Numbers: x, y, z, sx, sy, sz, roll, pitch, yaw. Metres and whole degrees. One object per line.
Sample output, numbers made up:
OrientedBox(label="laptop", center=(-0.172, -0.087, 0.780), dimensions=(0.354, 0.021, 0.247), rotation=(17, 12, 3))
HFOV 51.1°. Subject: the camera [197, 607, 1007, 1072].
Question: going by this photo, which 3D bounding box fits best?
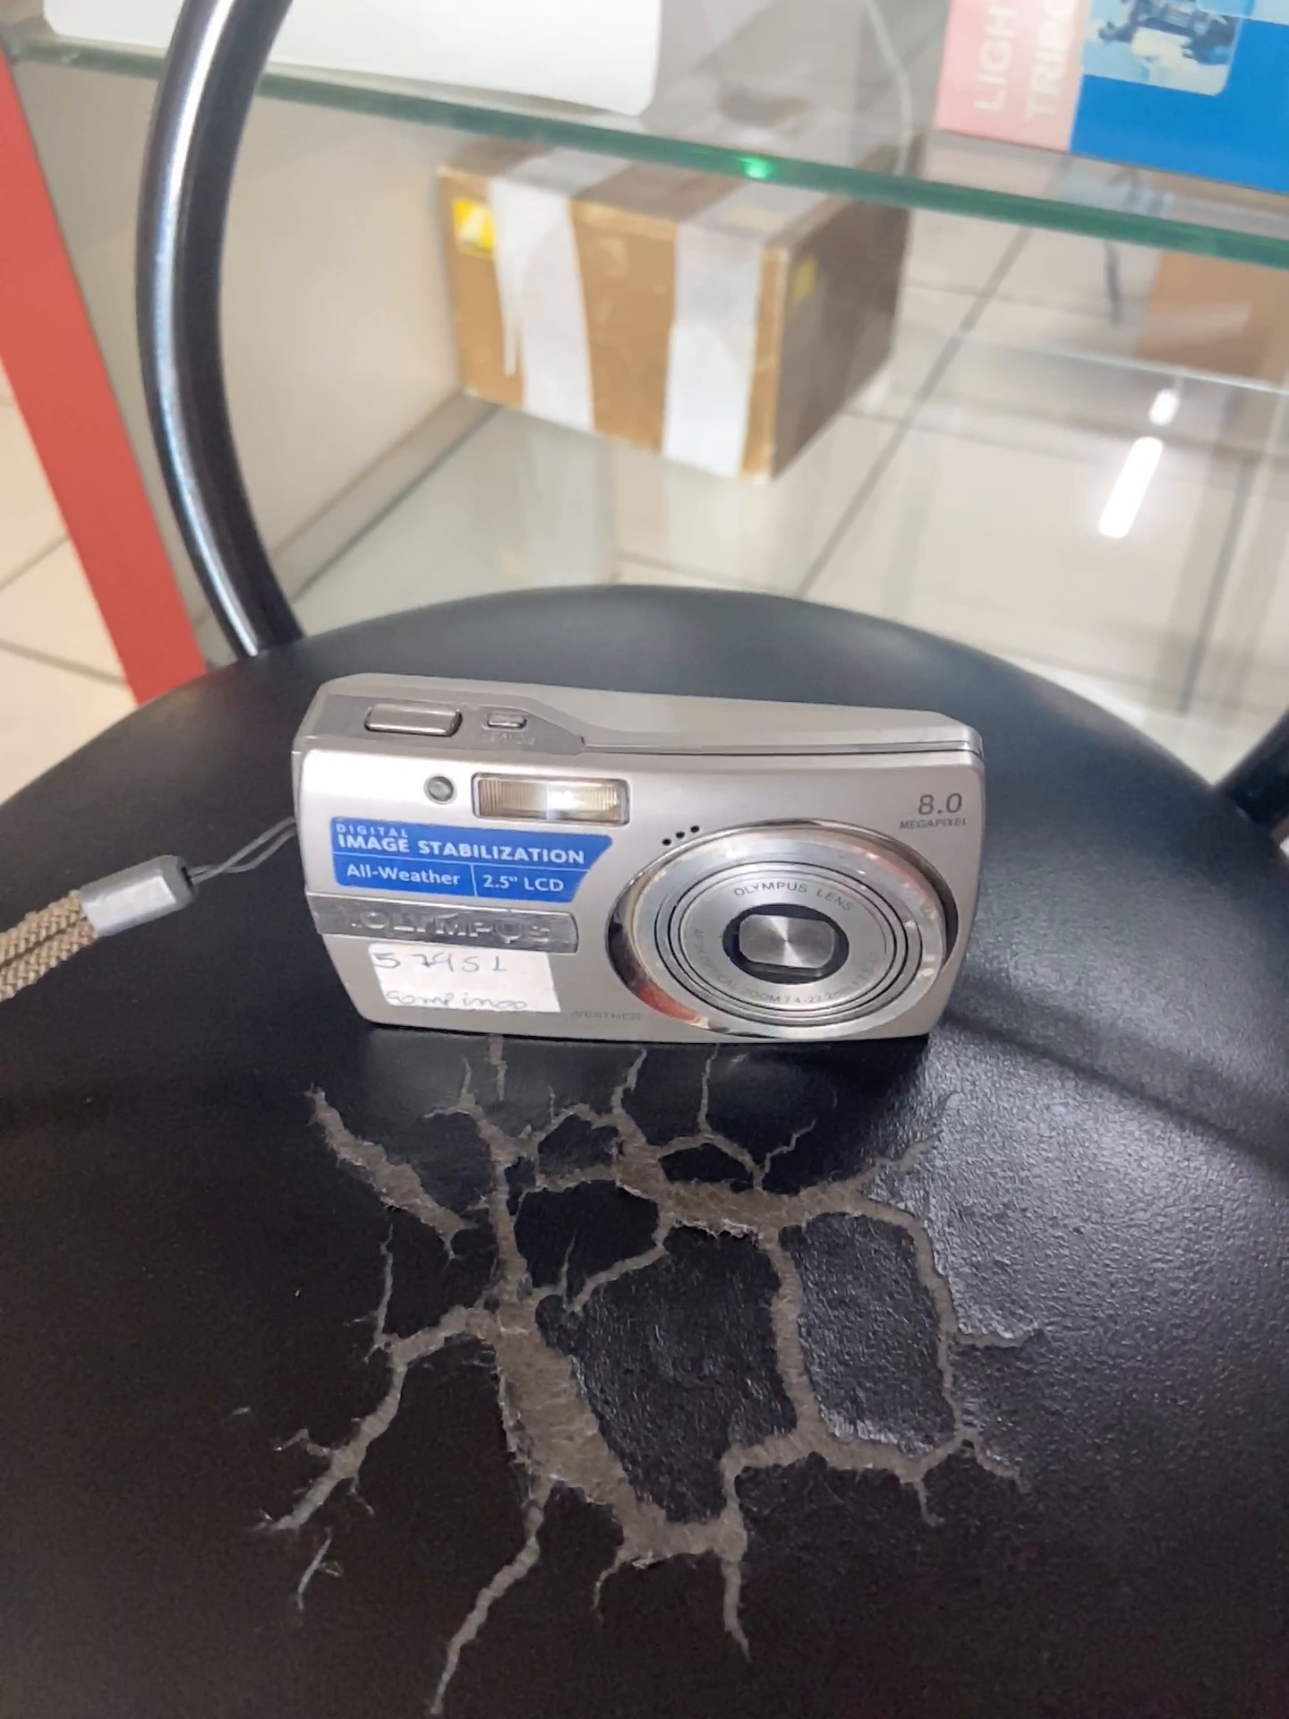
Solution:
OrientedBox(label="camera", center=(-0.004, -0.002, 0.197), dimensions=(0.100, 0.060, 0.030), rotation=(3, 46, 4))
